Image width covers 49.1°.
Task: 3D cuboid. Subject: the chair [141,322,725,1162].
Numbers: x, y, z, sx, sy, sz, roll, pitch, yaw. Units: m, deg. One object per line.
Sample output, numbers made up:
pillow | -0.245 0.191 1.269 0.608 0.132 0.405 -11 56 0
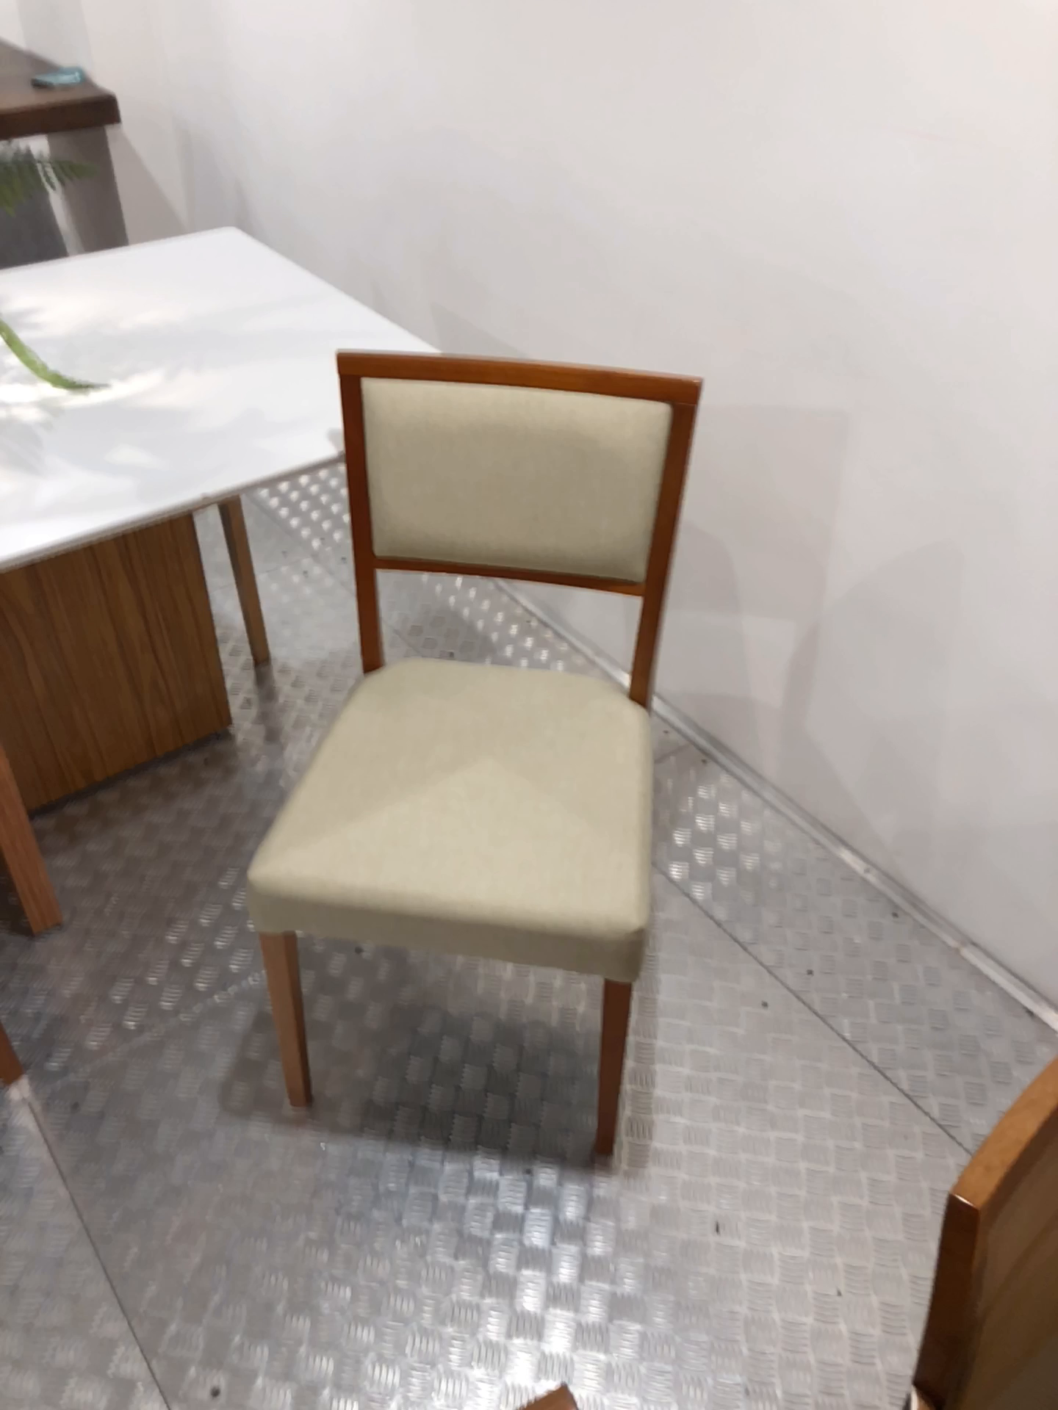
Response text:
chair | -0.061 0.056 1.573 0.520 0.893 0.625 7 40 7
